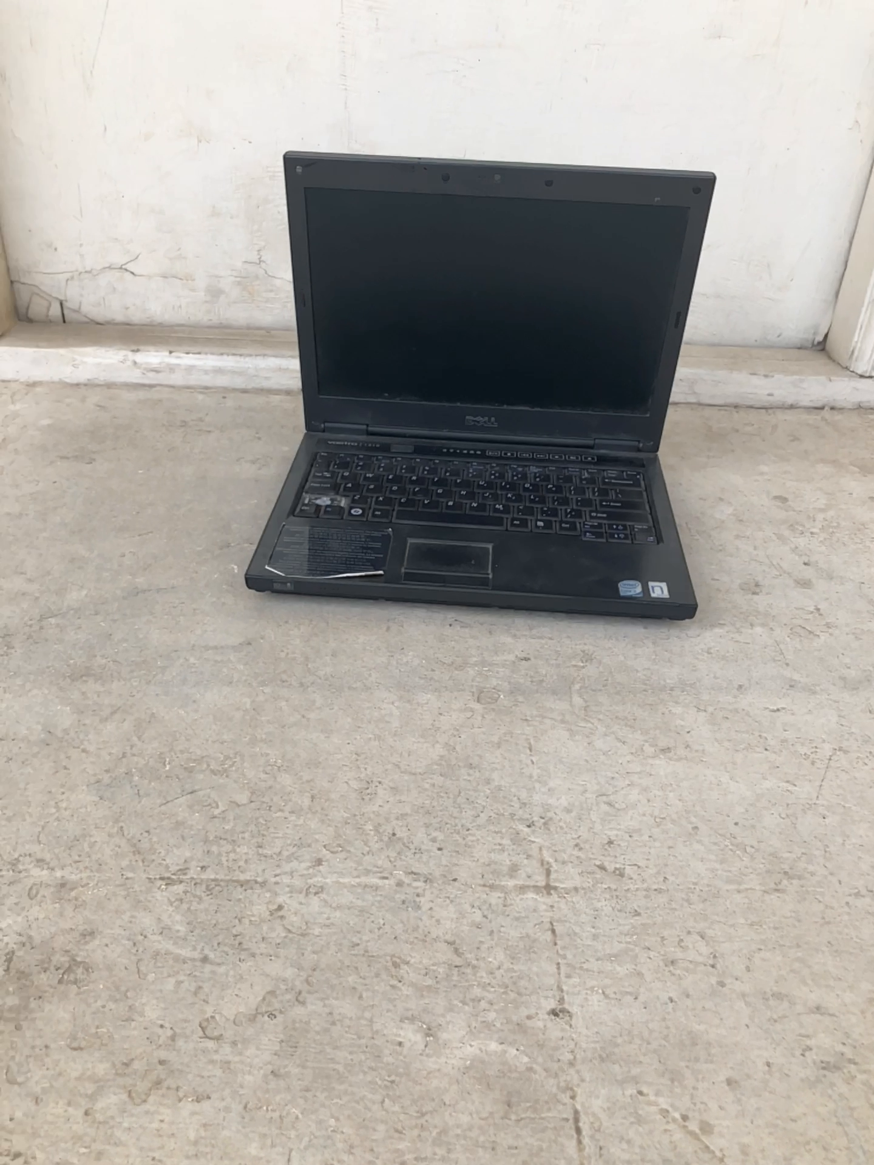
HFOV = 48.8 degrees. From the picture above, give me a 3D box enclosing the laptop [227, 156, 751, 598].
[{"bbox_3d":[0.031,-0.153,0.683,0.292,0.218,0.215,4,35,3],"label":"laptop"}]
